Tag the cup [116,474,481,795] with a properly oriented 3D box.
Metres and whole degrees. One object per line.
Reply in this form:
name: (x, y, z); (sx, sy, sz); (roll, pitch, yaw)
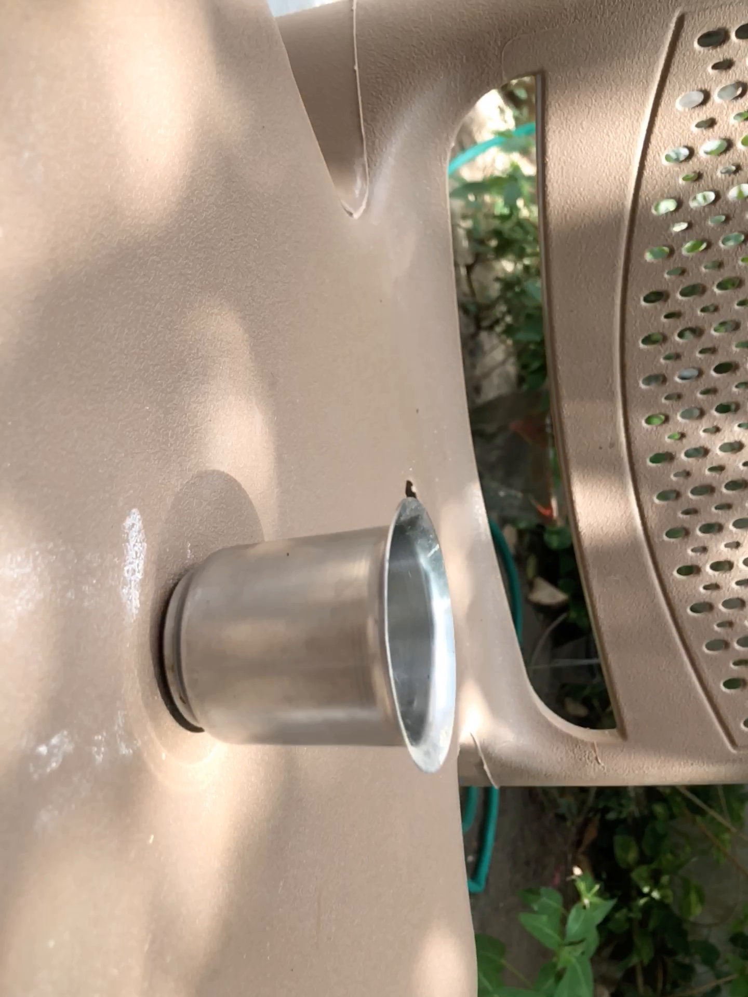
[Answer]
cup: (-0.013, 0.036, 0.202); (0.060, 0.060, 0.060); (-5, 90, -67)
